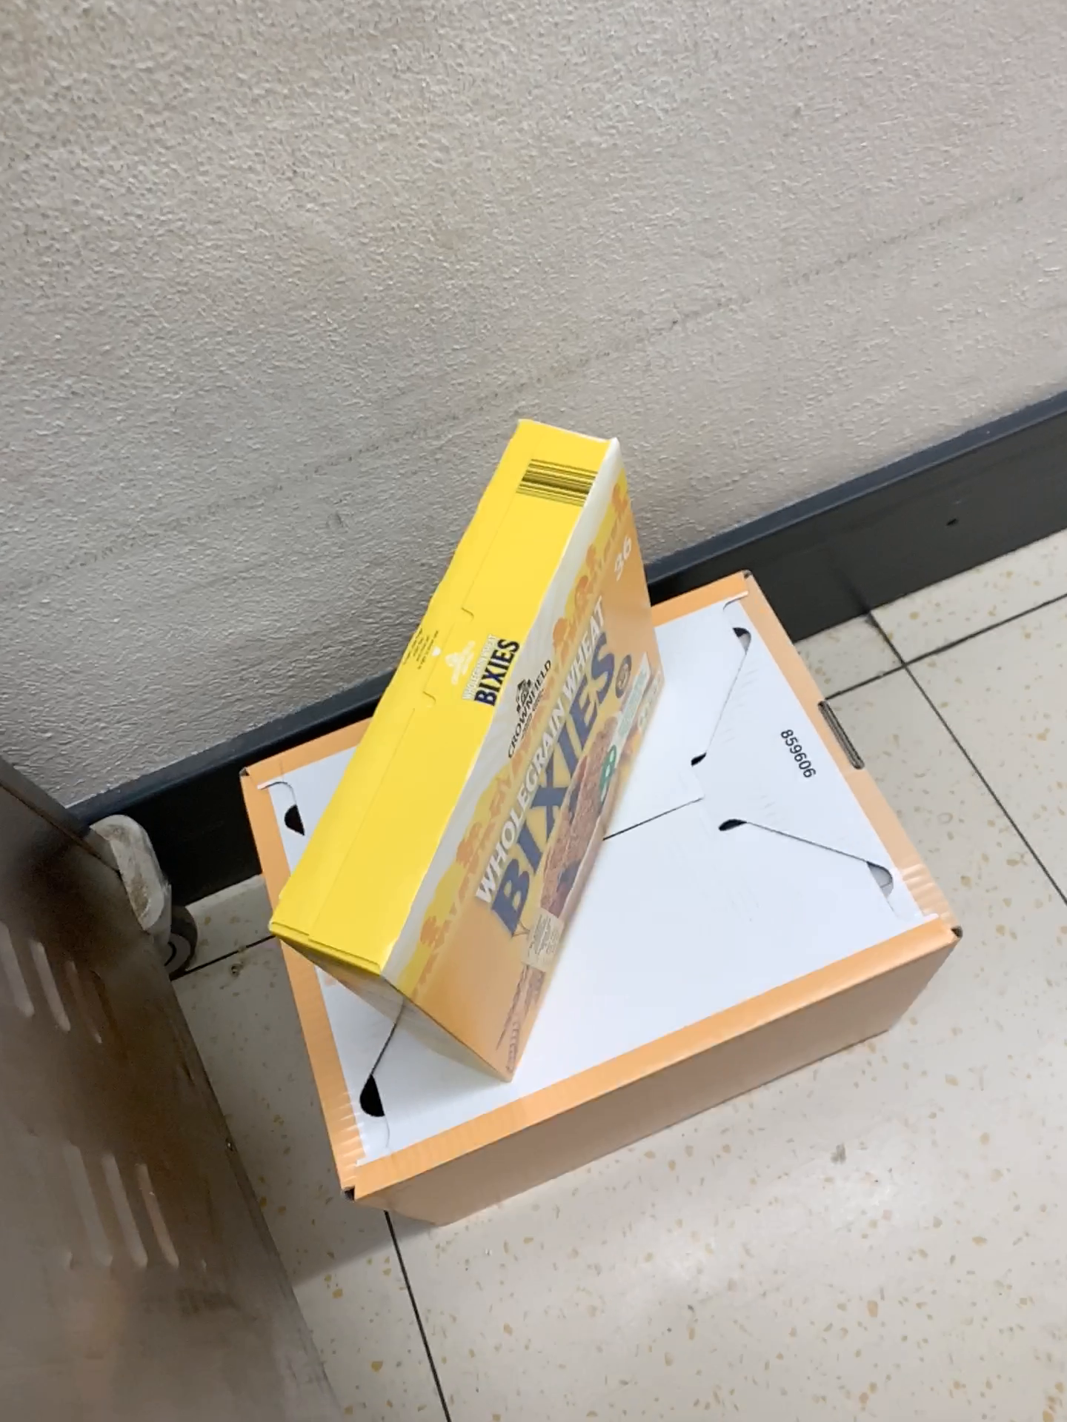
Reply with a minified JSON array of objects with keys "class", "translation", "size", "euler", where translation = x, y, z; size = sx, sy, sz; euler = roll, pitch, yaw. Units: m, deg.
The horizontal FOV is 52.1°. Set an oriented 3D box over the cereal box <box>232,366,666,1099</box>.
[{"class":"cereal box","translation":[-0.011,0.030,0.582],"size":[0.070,0.279,0.291],"euler":[16,66,16]}]
